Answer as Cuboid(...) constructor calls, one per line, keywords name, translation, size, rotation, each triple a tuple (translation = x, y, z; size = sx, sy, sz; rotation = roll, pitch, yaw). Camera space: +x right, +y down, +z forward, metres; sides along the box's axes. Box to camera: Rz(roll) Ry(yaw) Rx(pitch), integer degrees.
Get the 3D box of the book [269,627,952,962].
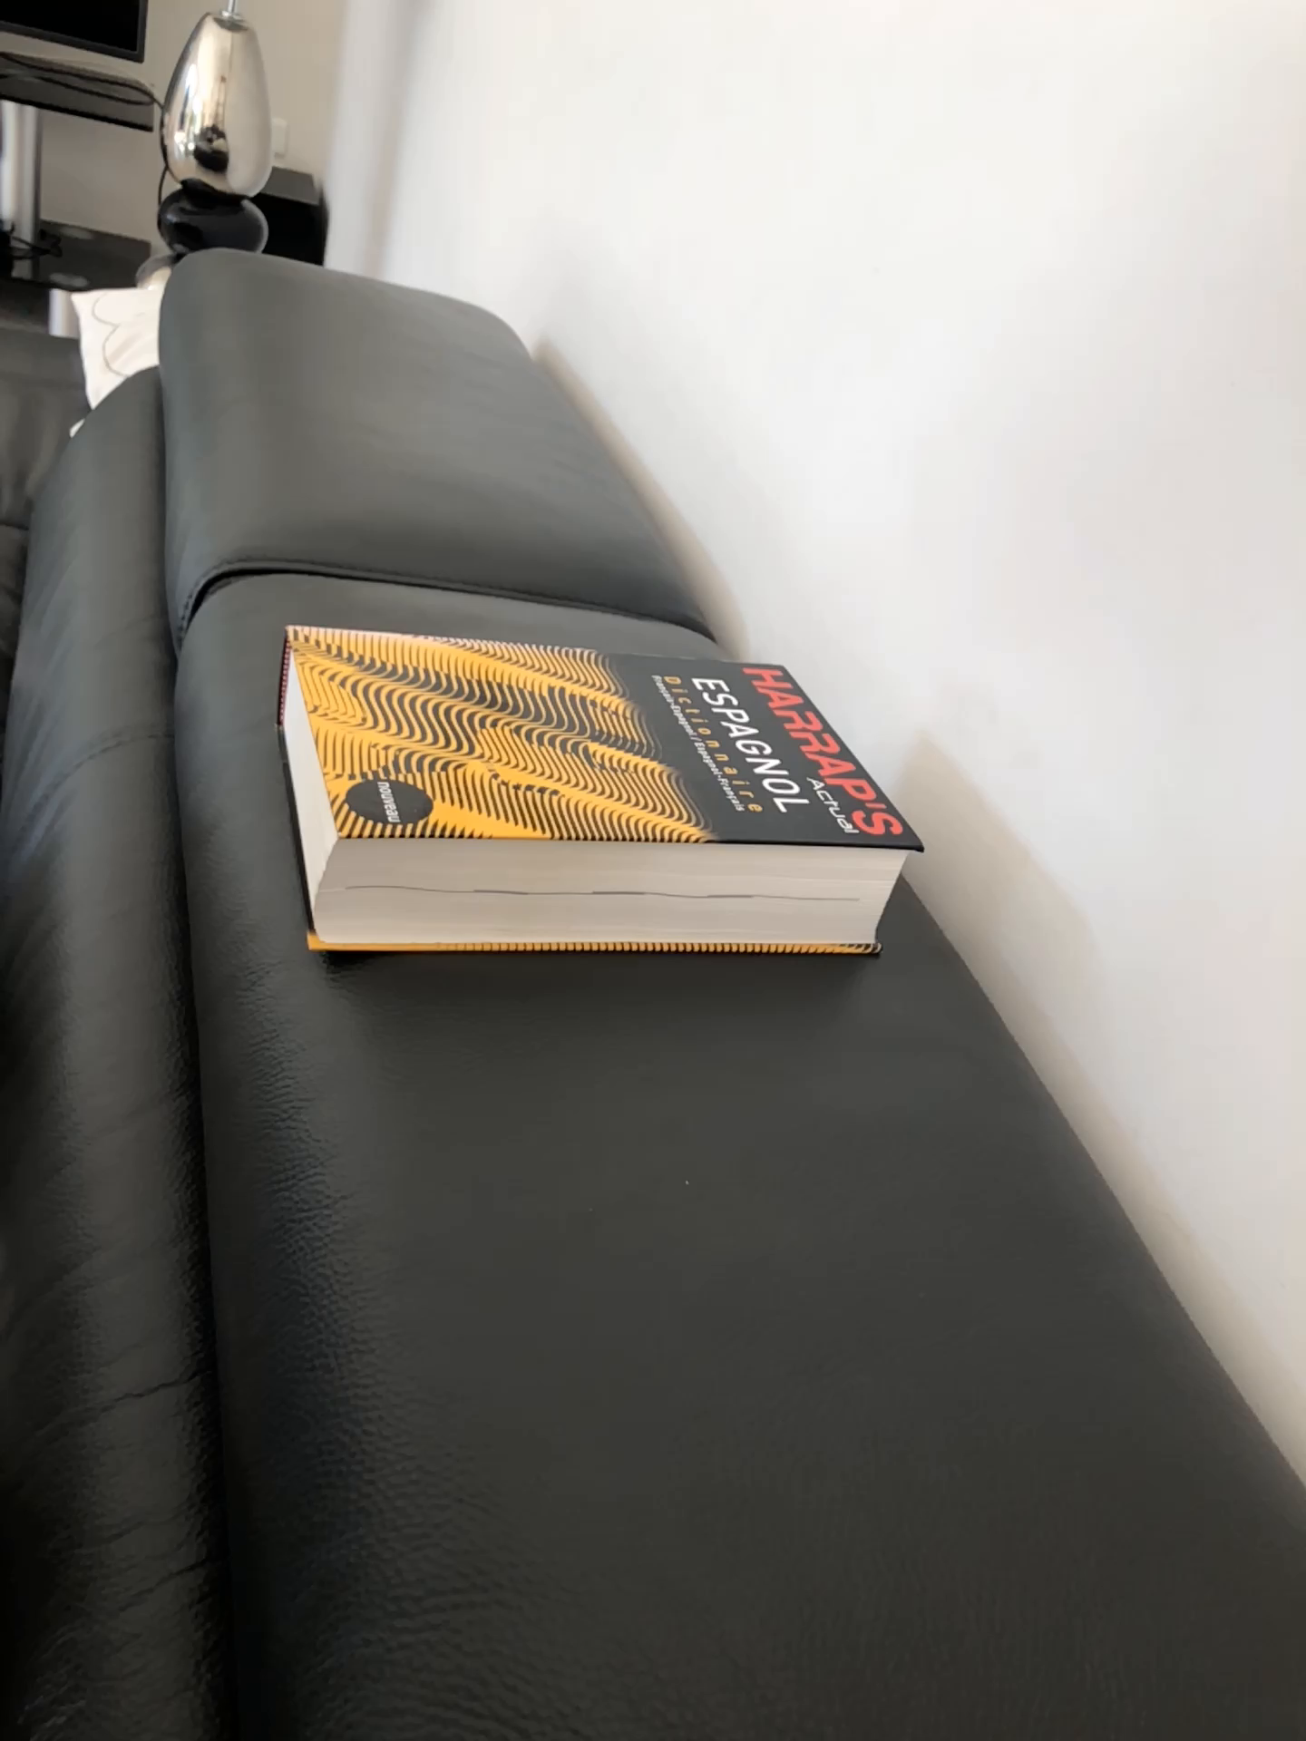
Cuboid(name="book", translation=(-0.028, -0.036, 0.639), size=(0.261, 0.050, 0.185), rotation=(1, 33, -21))
